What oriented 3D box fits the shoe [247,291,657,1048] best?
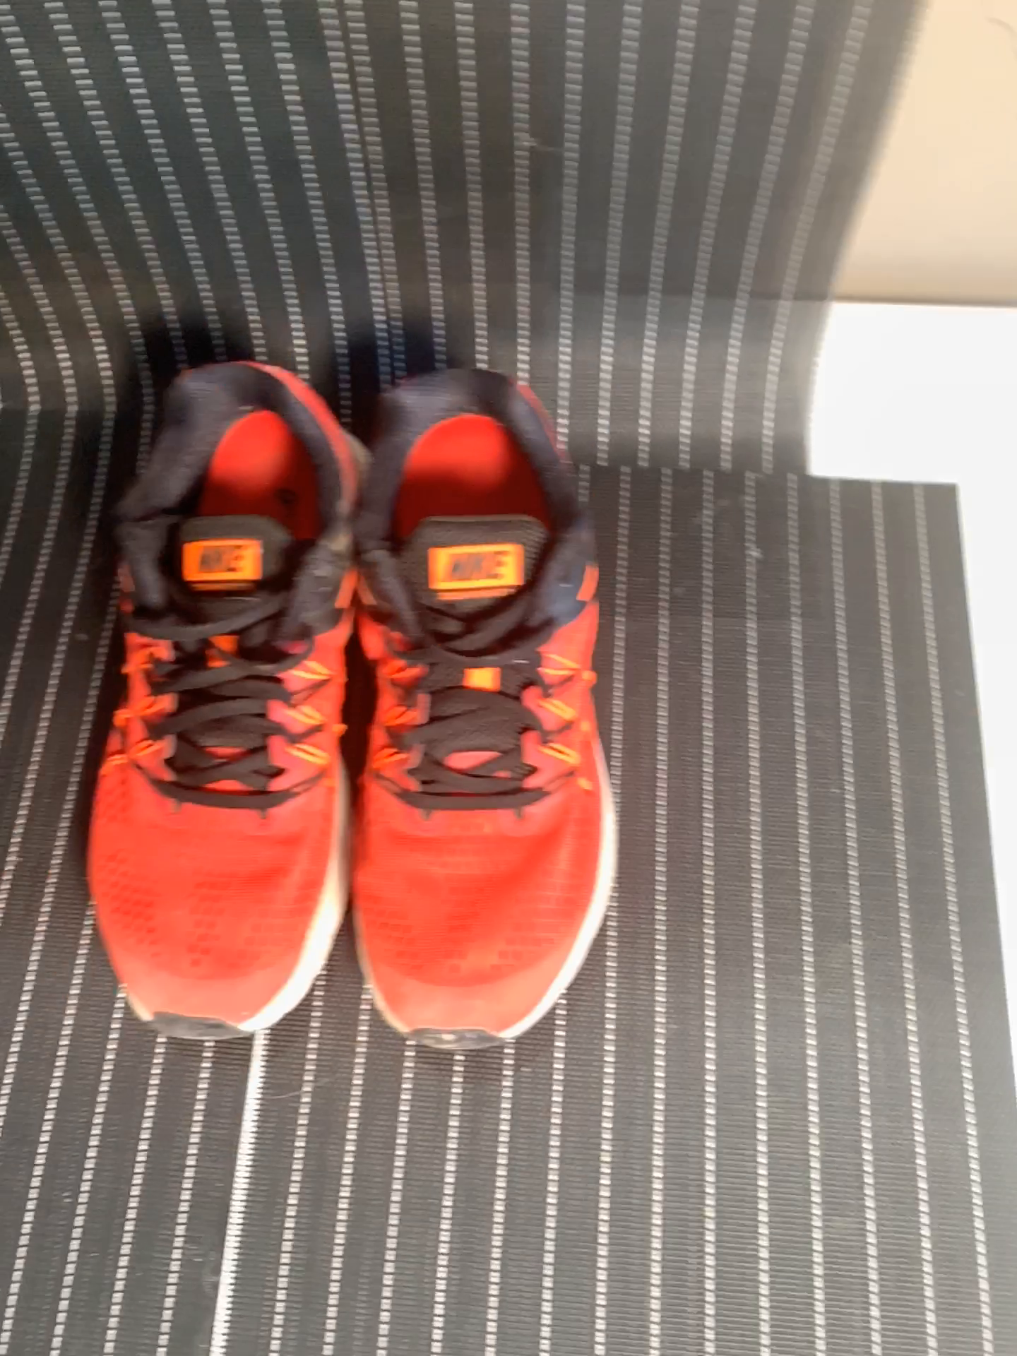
[{"bbox_3d":[-0.015,-0.002,0.405,0.120,0.110,0.270,0,69,2],"label":"shoe"}]

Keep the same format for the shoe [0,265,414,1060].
[{"bbox_3d":[-0.119,-0.008,0.429,0.120,0.110,0.300,3,69,3],"label":"shoe"}]
